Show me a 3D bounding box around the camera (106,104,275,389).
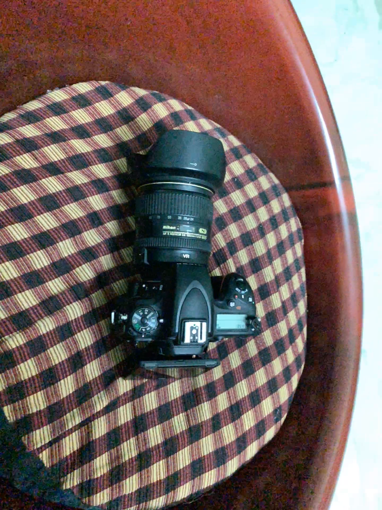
[{"bbox_3d":[-0.002,-0.002,0.409,0.140,0.101,0.250,5,80,-21],"label":"camera"}]
